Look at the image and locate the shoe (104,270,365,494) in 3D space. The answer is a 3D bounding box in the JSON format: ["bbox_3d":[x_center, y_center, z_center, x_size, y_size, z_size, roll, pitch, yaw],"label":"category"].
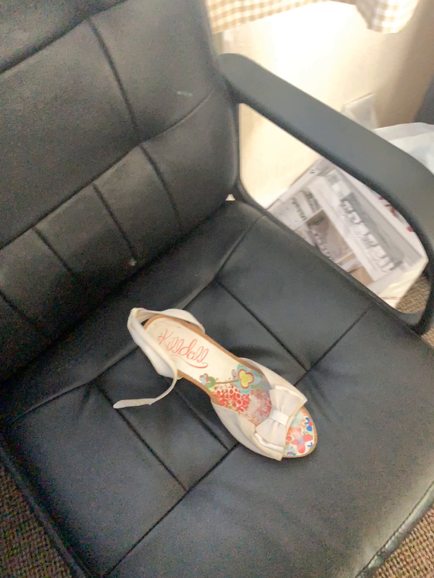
[{"bbox_3d":[0.016,0.117,0.518,0.241,0.189,0.100,30,69,17],"label":"shoe"}]
